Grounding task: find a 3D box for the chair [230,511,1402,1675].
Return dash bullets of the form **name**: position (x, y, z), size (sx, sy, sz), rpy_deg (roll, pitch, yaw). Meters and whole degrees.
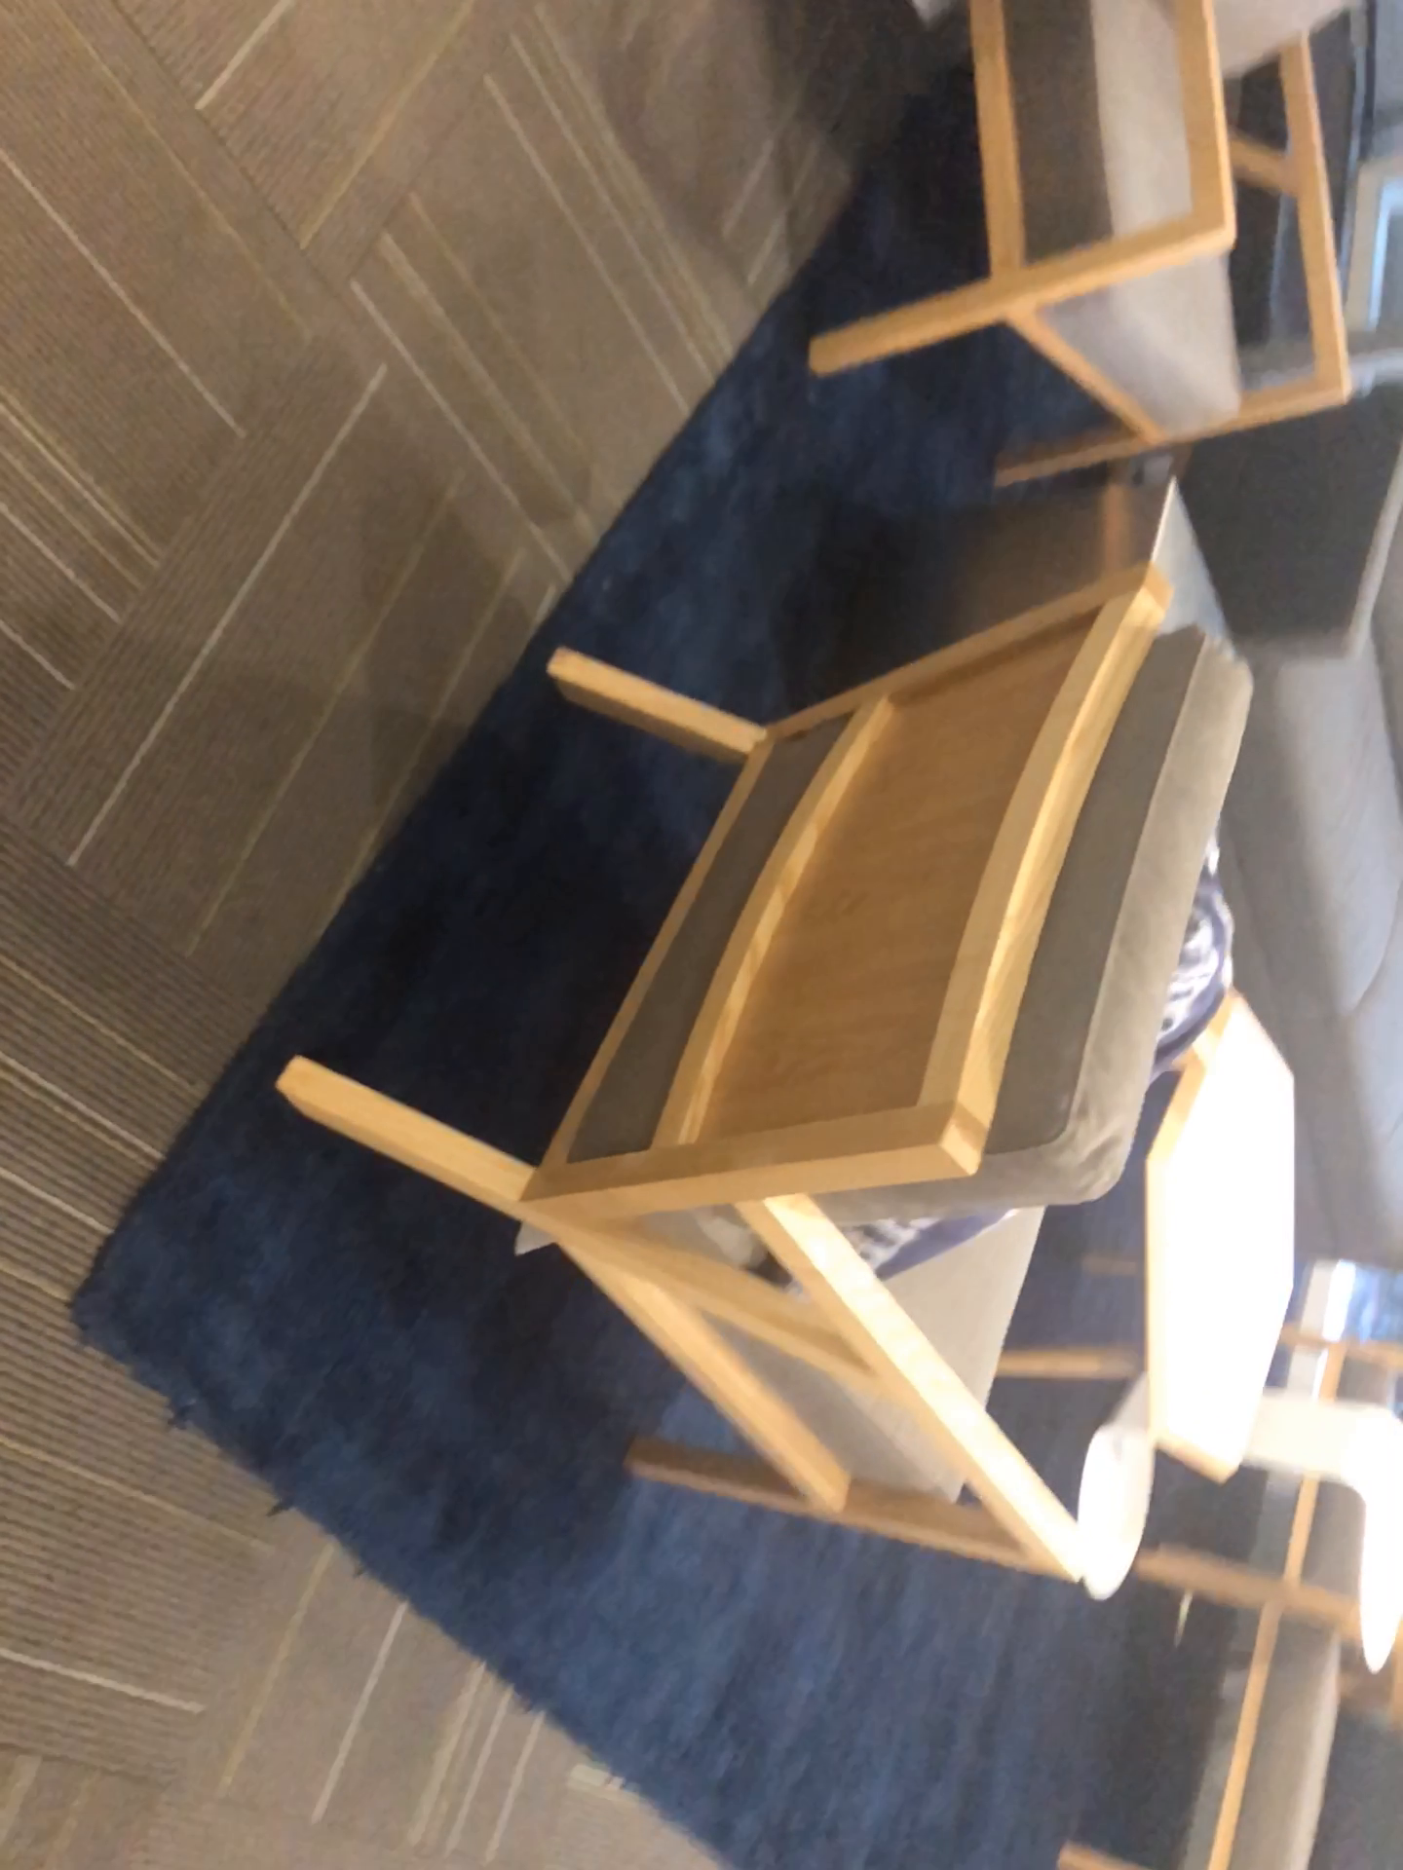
- **chair**: position (0.208, 0.161, 1.592), size (0.832, 0.773, 0.674), rpy_deg (59, 46, -39)
